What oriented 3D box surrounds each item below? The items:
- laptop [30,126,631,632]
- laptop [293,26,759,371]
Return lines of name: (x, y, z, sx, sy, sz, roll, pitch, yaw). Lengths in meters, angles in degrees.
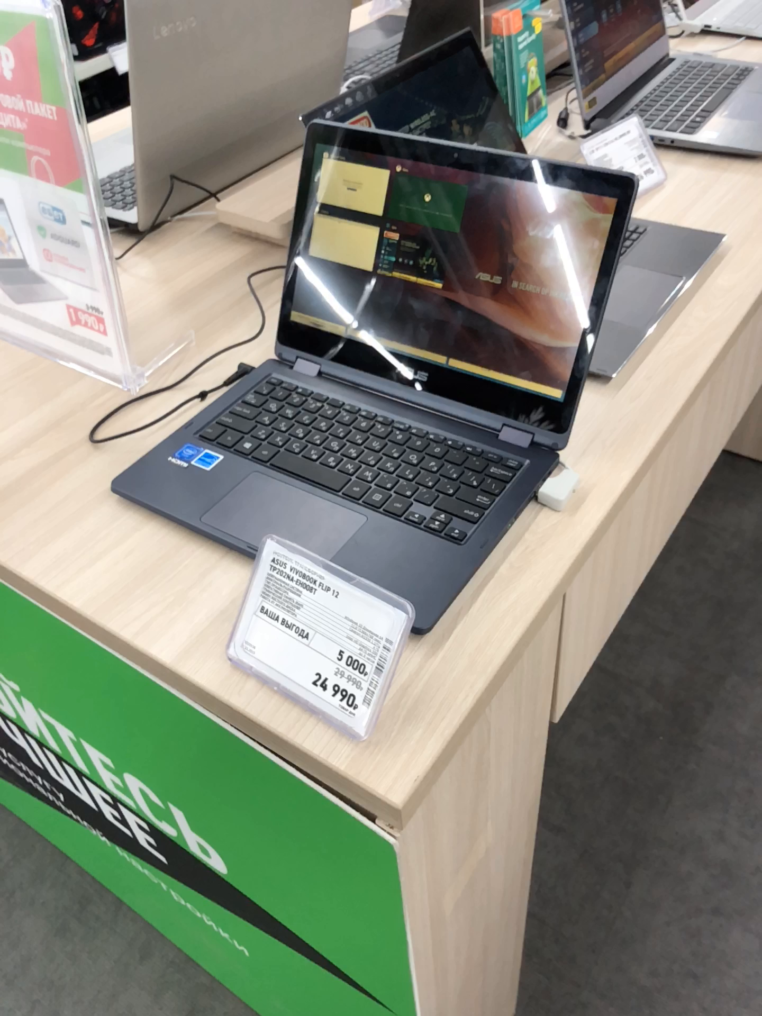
laptop: (-0.017, -0.116, 0.590, 0.270, 0.166, 0.281, 22, 49, 26)
laptop: (0.132, -0.301, 0.770, 0.299, 0.162, 0.262, 23, 50, 26)
